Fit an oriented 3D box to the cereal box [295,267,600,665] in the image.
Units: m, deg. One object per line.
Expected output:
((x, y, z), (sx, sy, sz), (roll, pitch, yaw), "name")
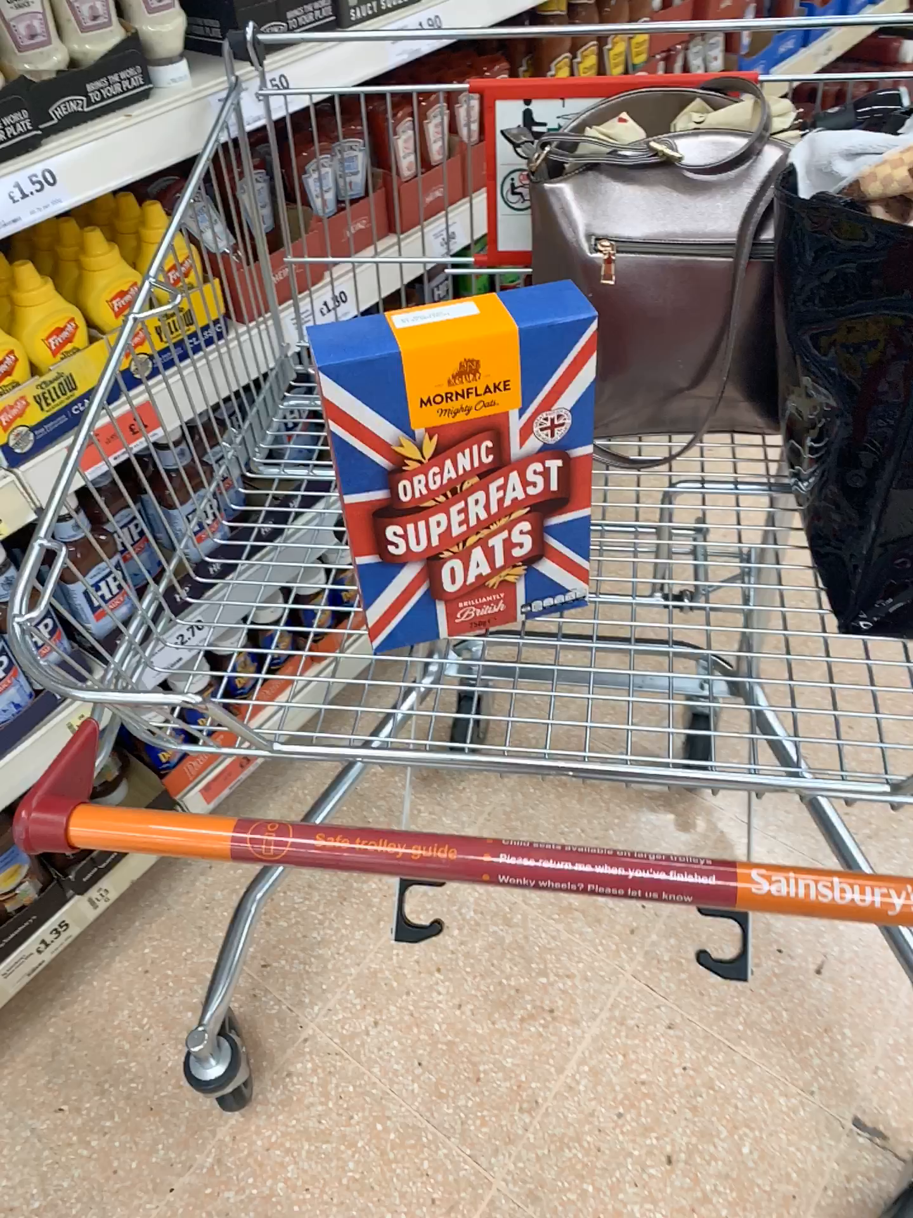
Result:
((0.003, -0.089, 0.657), (0.180, 0.258, 0.050), (-13, 43, -8), "cereal box")
